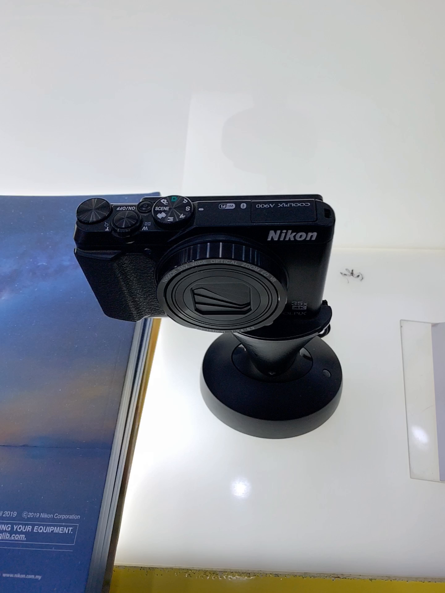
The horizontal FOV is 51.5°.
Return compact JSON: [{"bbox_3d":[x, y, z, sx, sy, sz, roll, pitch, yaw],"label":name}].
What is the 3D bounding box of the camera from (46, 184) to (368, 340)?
[{"bbox_3d":[-0.005,-0.013,0.207,0.120,0.060,0.040,0,54,2],"label":"camera"}]
